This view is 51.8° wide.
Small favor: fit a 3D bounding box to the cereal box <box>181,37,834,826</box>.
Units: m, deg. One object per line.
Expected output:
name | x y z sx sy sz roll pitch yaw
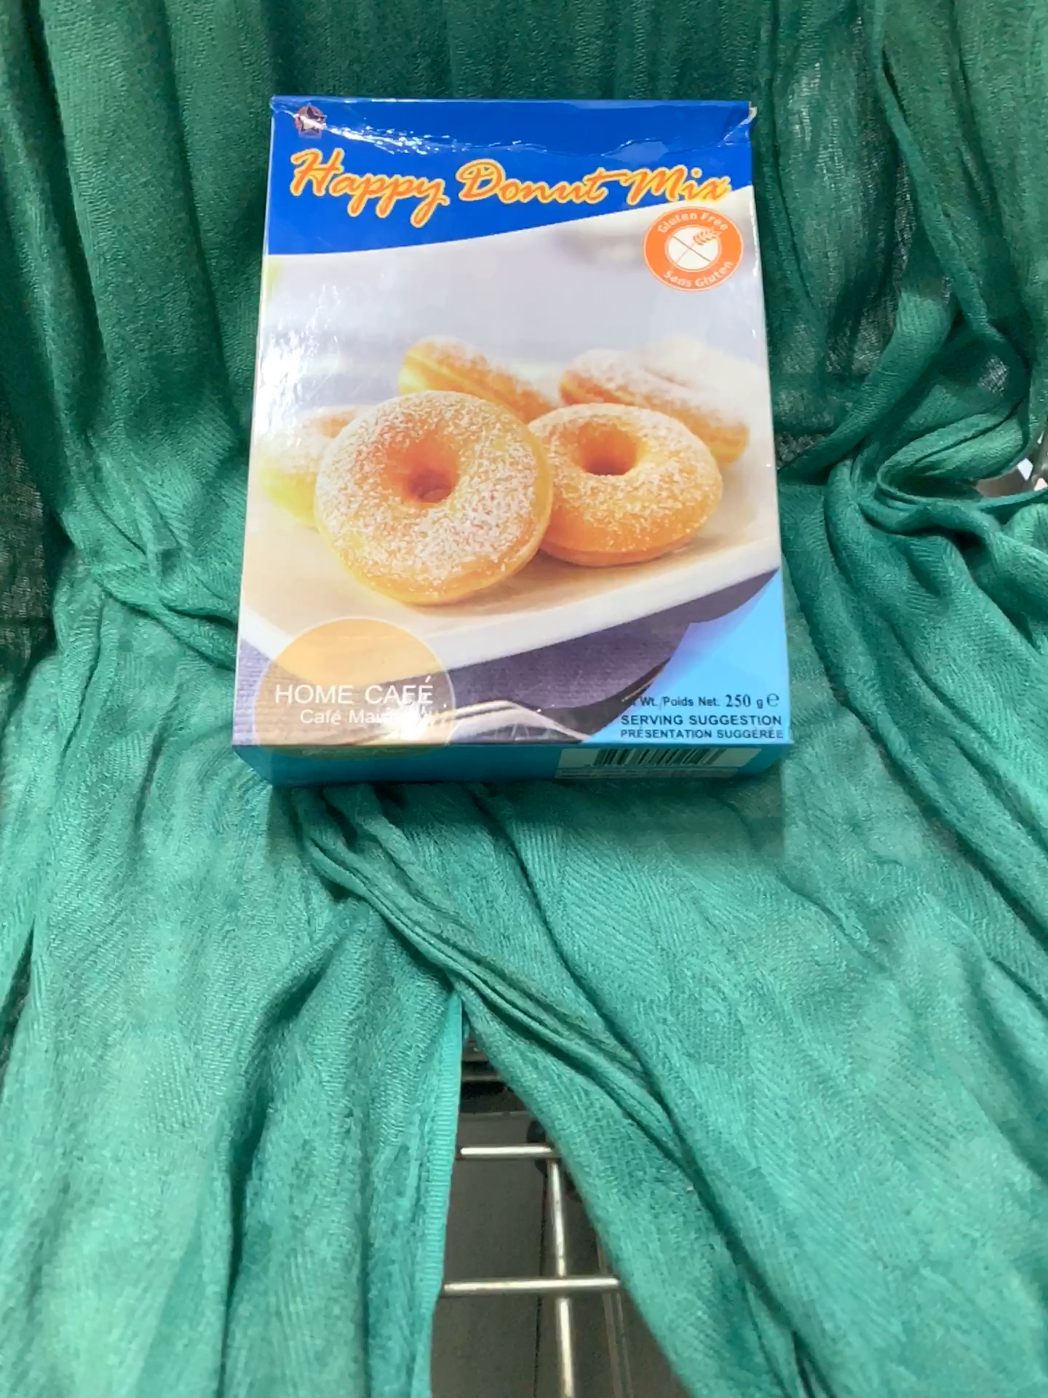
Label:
cereal box | -0.005 -0.063 0.266 0.130 0.060 0.180 0 76 -3
